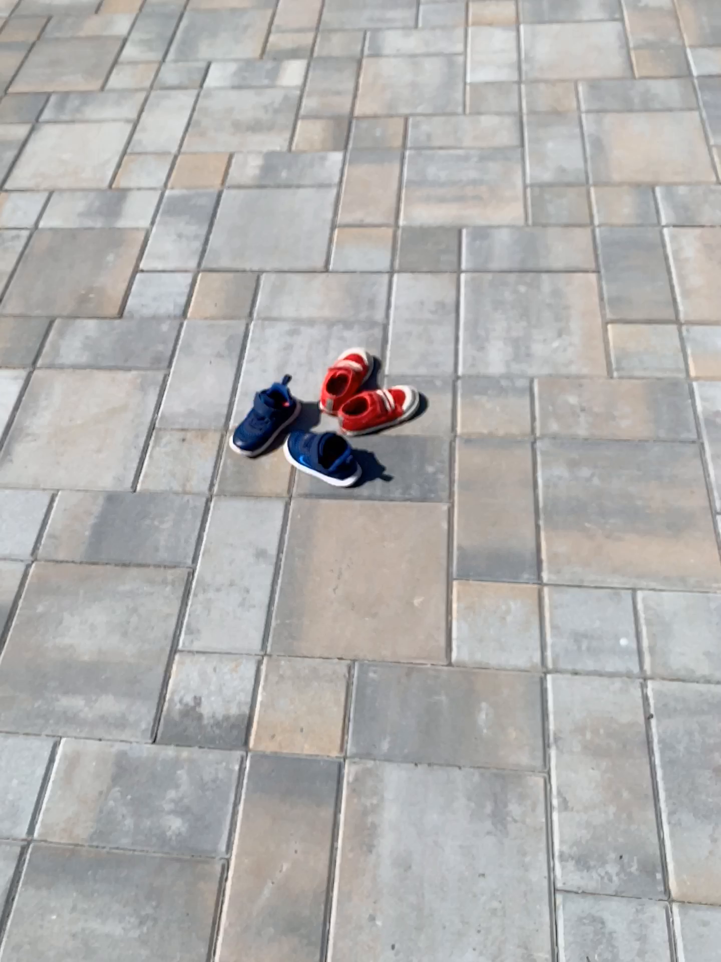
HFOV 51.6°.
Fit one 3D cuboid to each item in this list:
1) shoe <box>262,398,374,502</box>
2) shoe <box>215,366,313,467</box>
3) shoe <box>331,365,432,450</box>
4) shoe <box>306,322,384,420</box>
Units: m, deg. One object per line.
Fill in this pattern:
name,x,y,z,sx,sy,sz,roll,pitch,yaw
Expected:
shoe,-0.077,-0.058,1.382,0.180,0.090,0.090,29,64,22
shoe,-0.179,-0.123,1.408,0.080,0.070,0.170,32,65,23
shoe,0.041,-0.140,1.421,0.170,0.070,0.080,-23,58,-10
shoe,-0.026,-0.214,1.445,0.080,0.070,0.170,19,61,17
